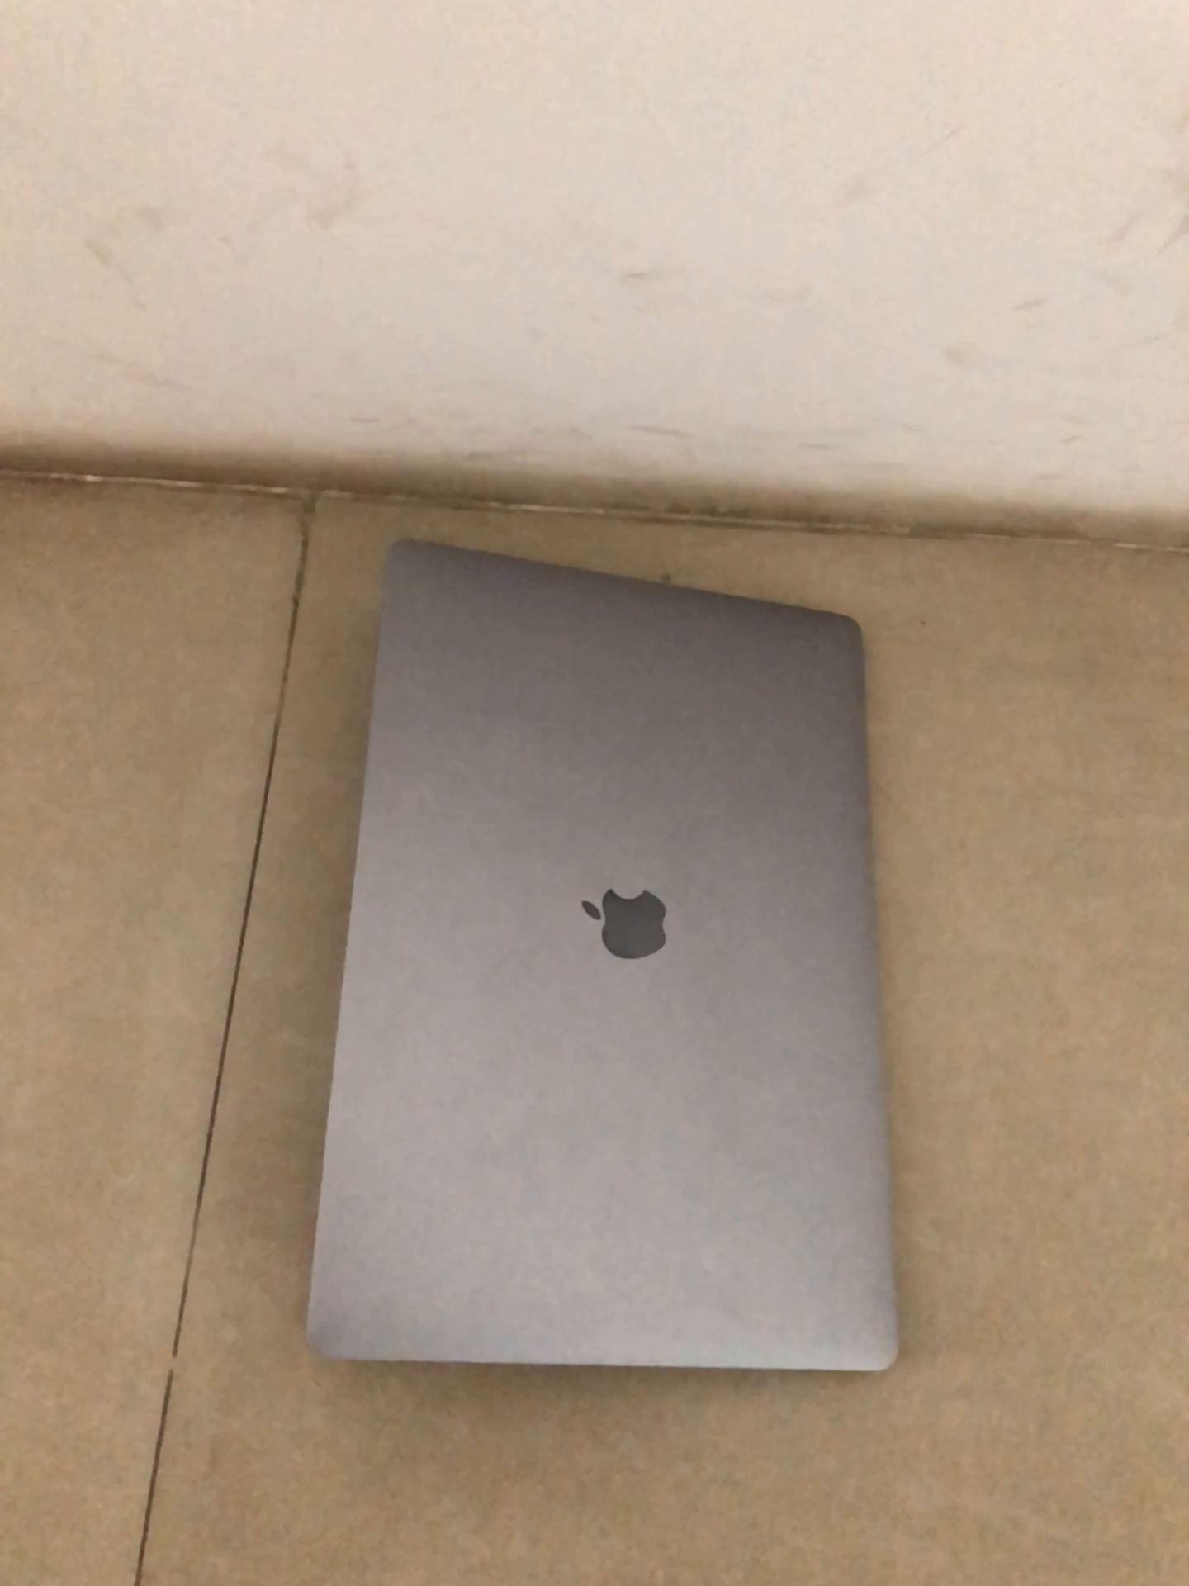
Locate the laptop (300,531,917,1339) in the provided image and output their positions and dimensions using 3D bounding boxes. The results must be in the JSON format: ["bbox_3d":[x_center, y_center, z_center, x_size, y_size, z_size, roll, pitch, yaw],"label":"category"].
[{"bbox_3d":[0.013,0.051,0.580,0.232,0.057,0.336,3,69,0],"label":"laptop"}]
